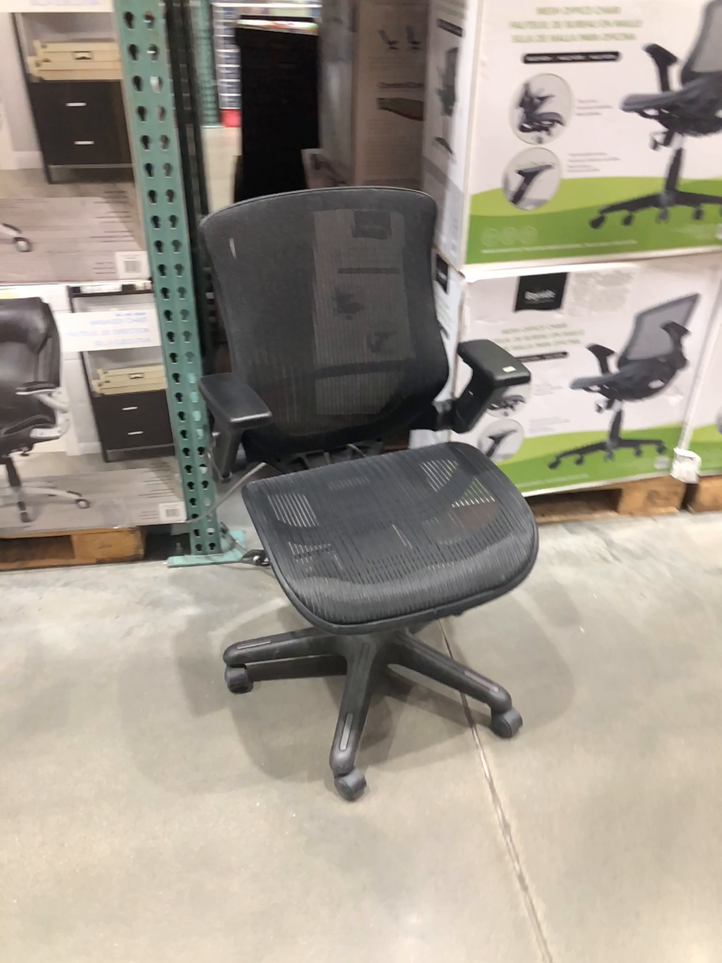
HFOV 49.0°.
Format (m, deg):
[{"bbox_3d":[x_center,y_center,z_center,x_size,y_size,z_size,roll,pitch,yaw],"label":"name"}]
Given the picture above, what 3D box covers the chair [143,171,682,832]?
[{"bbox_3d":[0.013,-0.003,1.520,0.635,0.936,0.701,-11,36,-17],"label":"chair"}]
